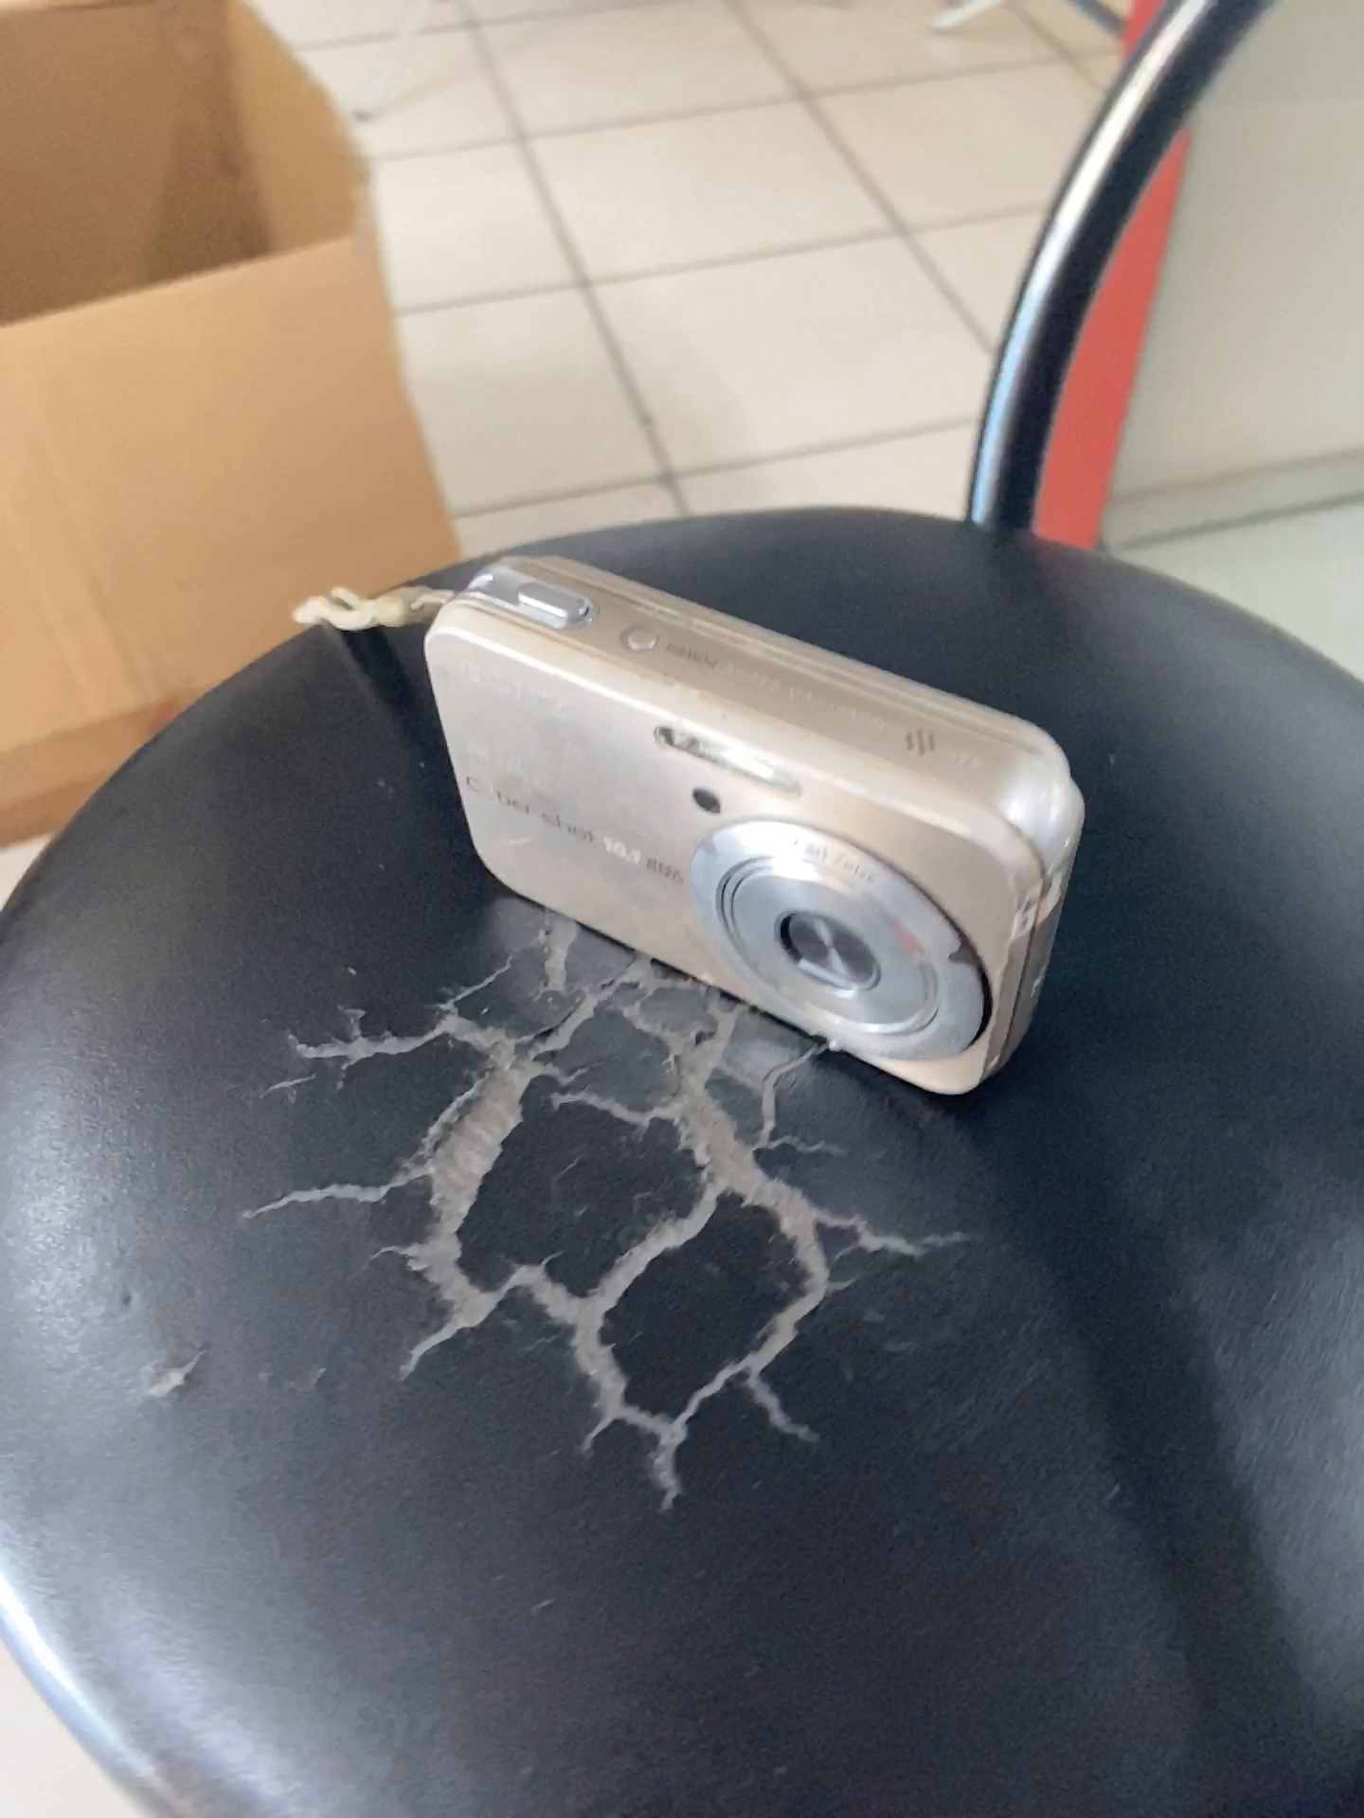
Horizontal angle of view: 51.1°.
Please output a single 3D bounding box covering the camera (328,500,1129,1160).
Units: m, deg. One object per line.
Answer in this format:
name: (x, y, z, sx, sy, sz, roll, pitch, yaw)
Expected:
camera: (0.004, -0.013, 0.219, 0.110, 0.060, 0.030, 25, 57, 21)
